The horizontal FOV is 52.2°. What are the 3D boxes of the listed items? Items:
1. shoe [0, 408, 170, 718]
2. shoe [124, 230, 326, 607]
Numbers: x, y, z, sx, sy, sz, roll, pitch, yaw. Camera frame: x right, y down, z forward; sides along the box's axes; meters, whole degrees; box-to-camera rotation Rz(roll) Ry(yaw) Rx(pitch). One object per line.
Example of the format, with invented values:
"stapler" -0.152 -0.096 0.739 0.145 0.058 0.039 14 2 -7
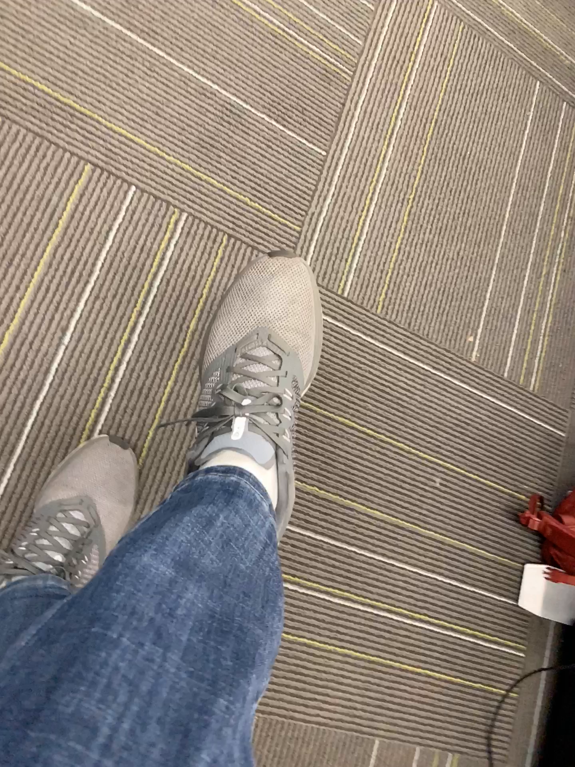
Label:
"shoe" -0.299 0.202 0.733 0.124 0.180 0.310 33 70 -17
"shoe" -0.042 0.028 0.524 0.127 0.115 0.297 3 76 7
